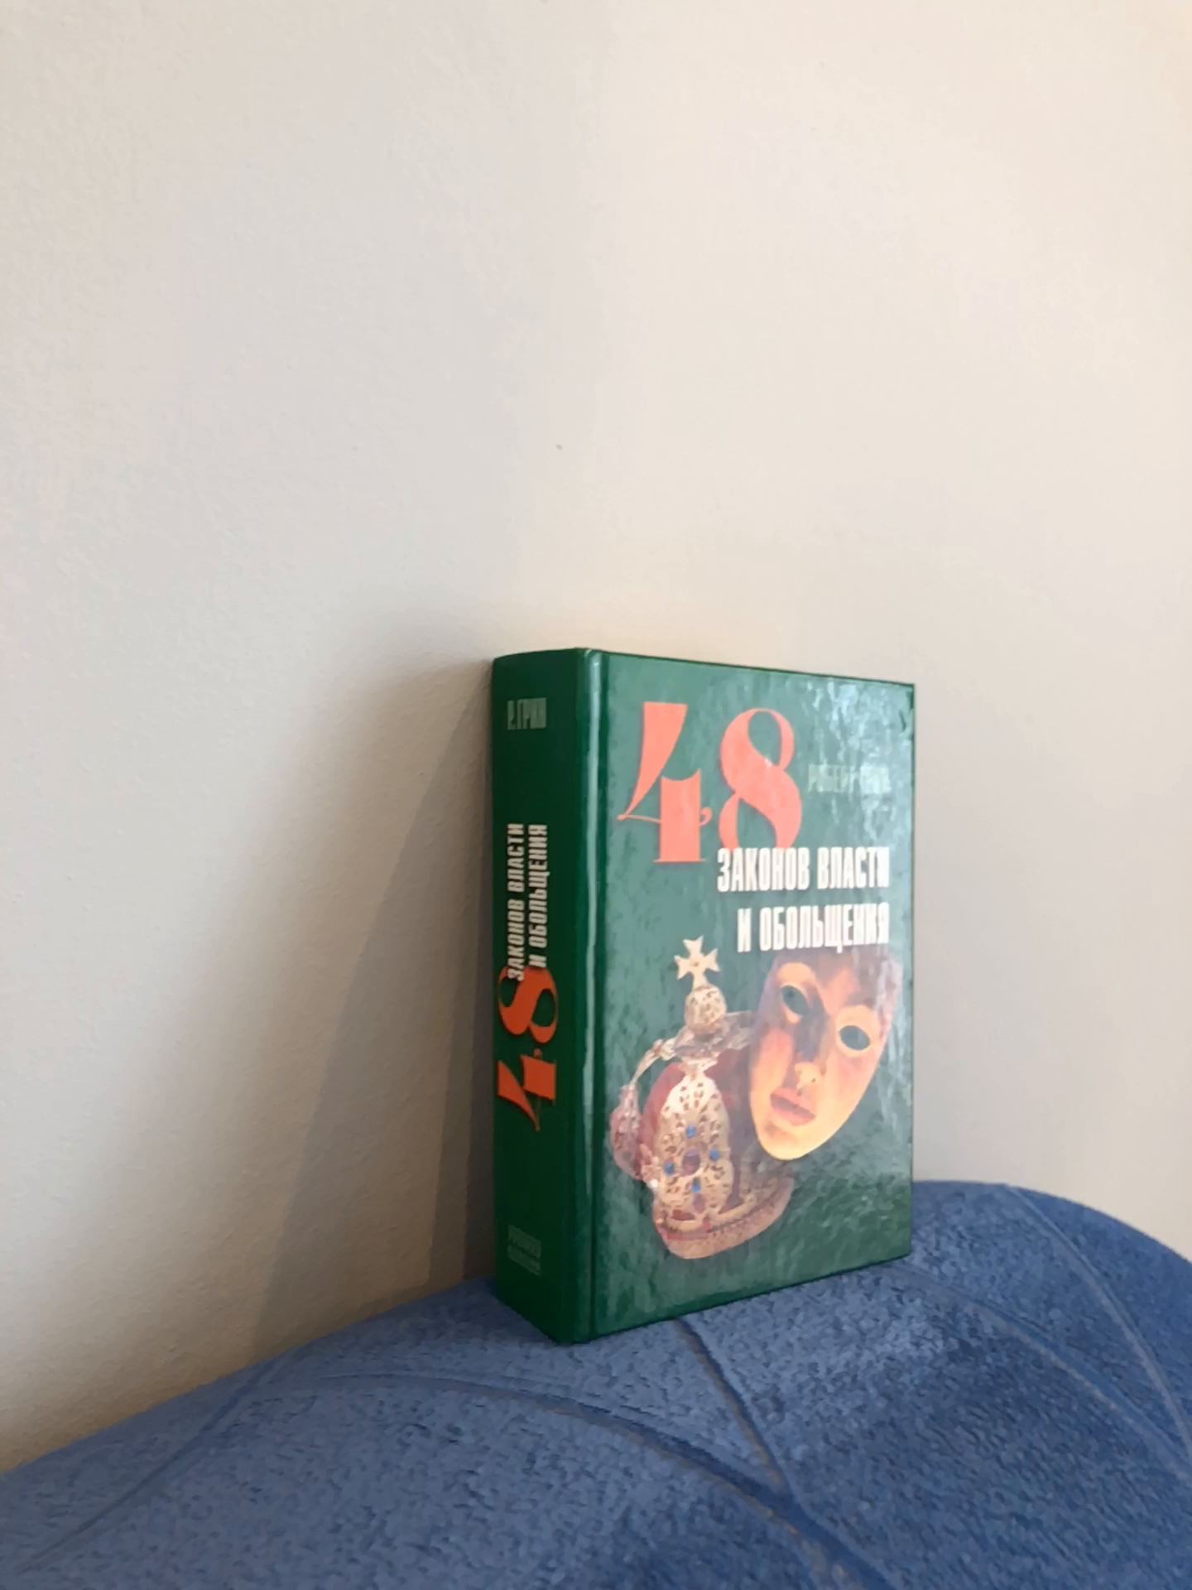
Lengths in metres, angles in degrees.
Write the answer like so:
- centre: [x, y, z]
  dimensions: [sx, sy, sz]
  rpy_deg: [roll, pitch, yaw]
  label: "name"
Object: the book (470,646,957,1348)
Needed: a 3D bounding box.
- centre: [0.029, 0.040, 0.316]
  dimensions: [0.107, 0.141, 0.050]
  rpy_deg: [0, 0, -32]
  label: "book"
